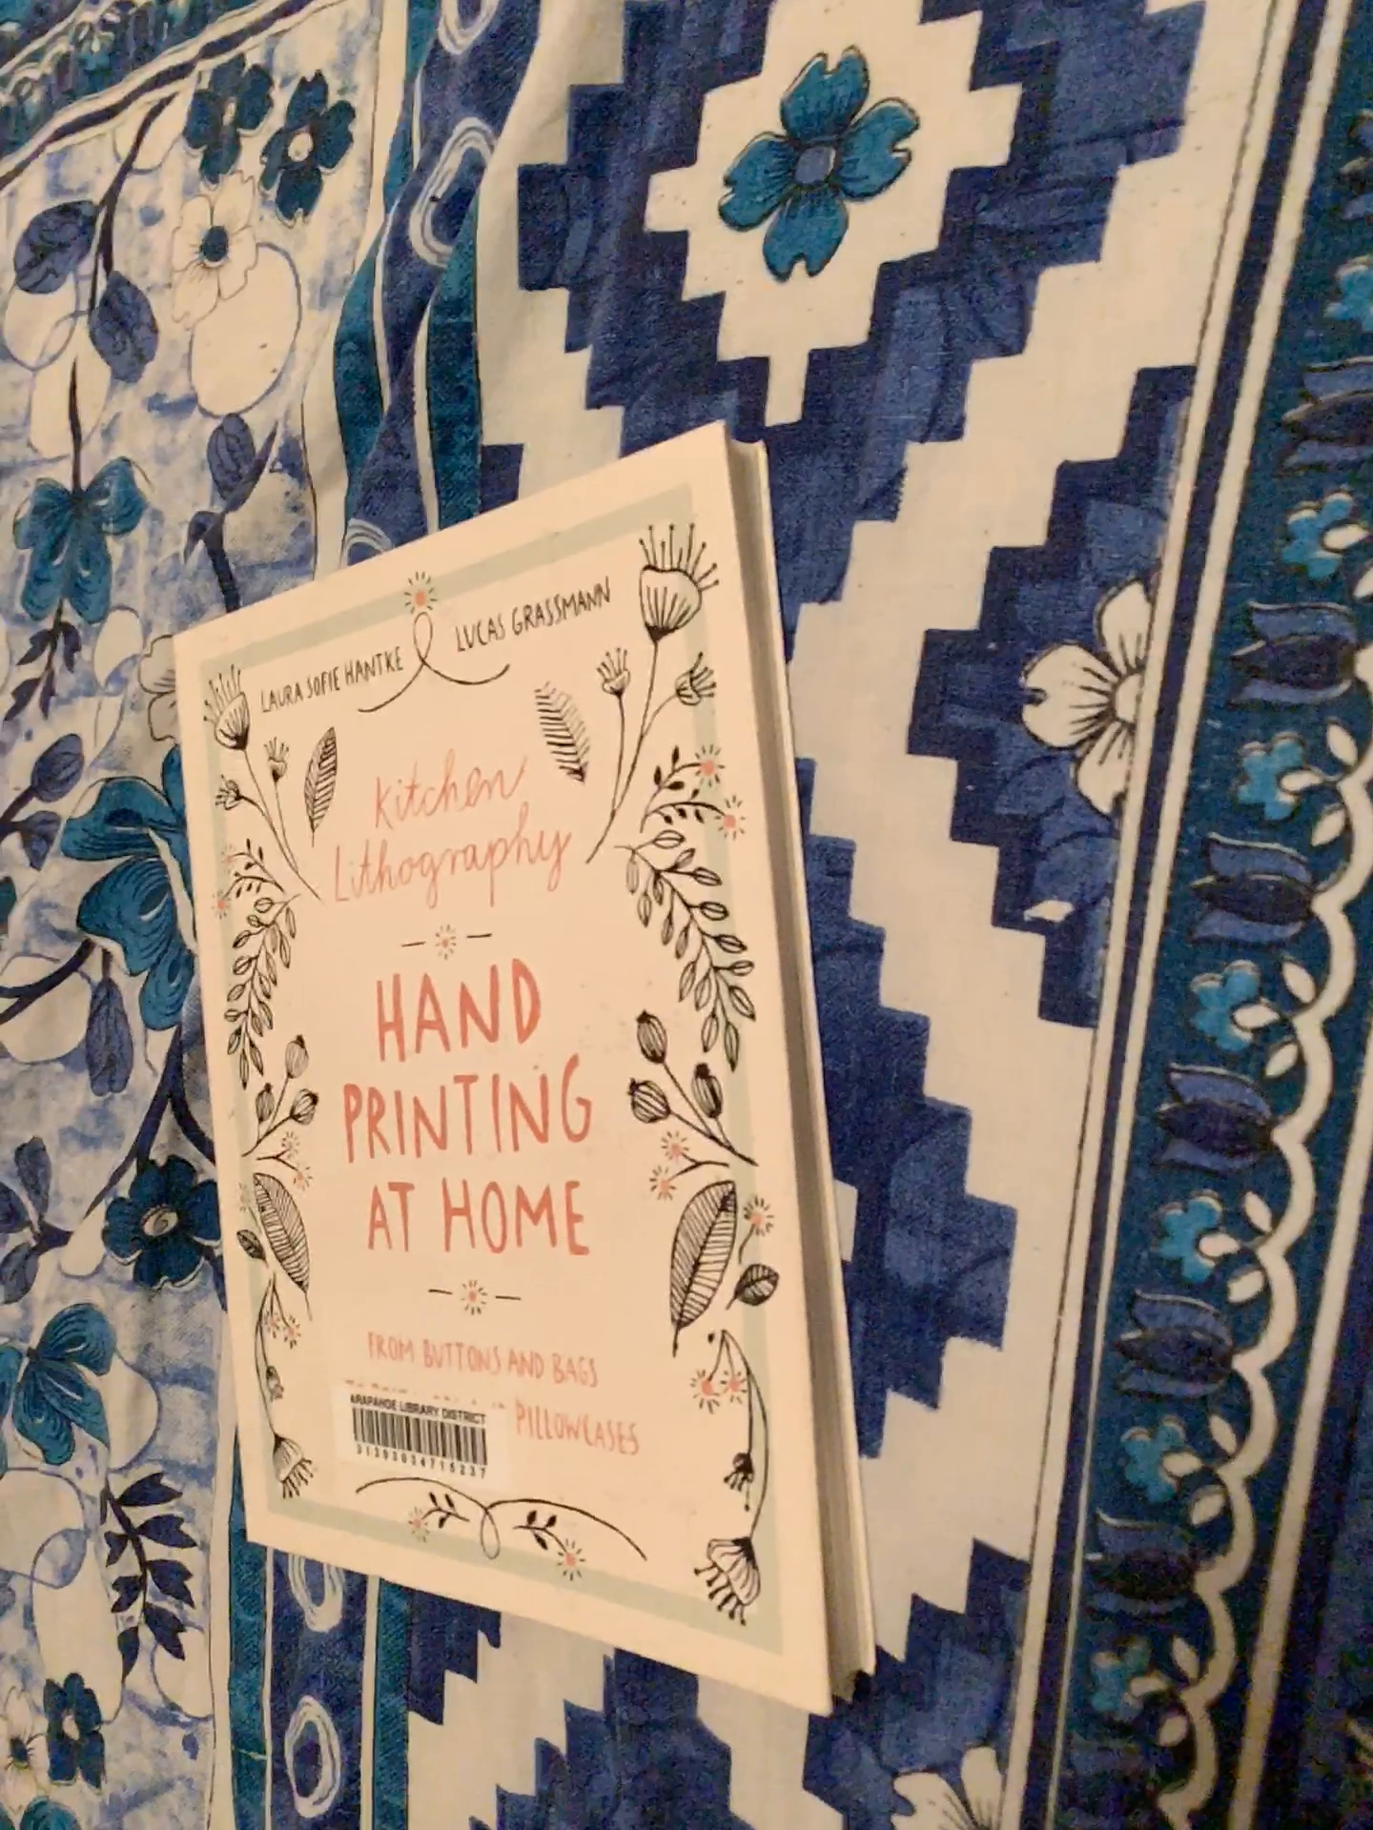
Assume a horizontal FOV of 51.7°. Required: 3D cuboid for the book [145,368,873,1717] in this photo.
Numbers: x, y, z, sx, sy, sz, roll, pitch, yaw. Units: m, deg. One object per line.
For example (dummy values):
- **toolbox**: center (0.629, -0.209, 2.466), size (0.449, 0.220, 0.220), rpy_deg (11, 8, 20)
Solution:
- **book**: center (-0.050, 0.026, 0.291), size (0.171, 0.020, 0.220), rpy_deg (-7, 85, 38)
